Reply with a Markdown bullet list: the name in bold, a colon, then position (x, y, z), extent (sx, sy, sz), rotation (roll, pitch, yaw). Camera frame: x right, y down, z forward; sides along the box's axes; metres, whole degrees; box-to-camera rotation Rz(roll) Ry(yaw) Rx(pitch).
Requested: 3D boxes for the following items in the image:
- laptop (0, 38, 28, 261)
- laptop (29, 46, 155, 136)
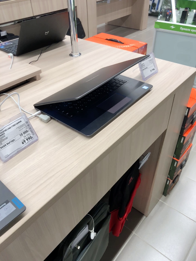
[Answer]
- **laptop**: position (-0.394, 0.056, 0.309), extent (0.377, 0.231, 0.349), rotation (26, 44, 29)
- **laptop**: position (-0.002, -0.155, 0.700), extent (0.221, 0.099, 0.345), rotation (27, 47, 29)
